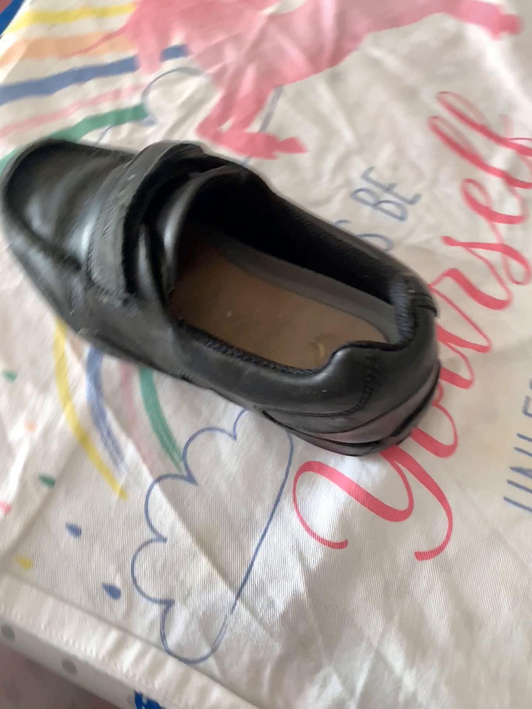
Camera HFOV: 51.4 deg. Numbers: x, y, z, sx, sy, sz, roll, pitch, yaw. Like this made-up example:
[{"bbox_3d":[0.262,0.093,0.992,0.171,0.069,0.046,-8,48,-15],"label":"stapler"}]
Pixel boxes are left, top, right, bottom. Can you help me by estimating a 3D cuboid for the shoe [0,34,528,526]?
[{"bbox_3d":[-0.029,-0.022,0.247,0.220,0.139,0.080,29,77,16],"label":"shoe"}]
